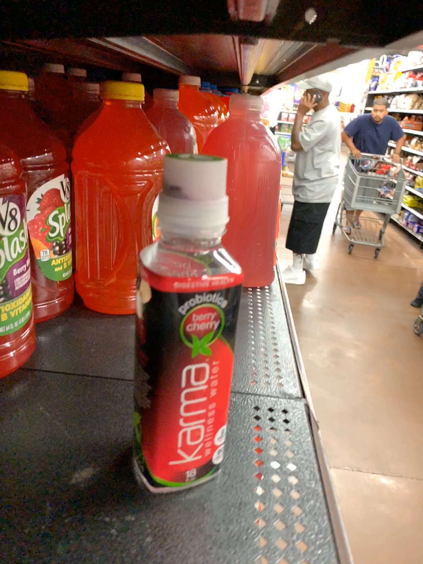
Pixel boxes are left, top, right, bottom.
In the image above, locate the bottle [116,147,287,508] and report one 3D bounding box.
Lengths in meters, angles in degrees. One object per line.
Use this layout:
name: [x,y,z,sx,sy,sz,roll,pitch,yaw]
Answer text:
bottle: [-0.017,0.029,0.274,0.069,0.209,0.070,5,22,-2]
